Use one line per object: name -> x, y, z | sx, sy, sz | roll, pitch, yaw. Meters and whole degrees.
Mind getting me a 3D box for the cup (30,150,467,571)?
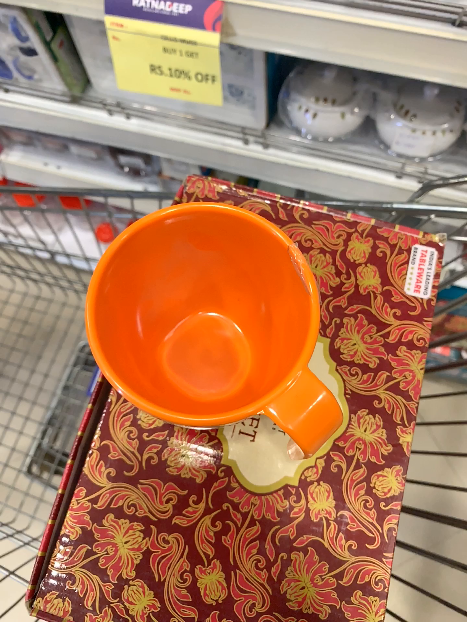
cup -> 0.004, 0.017, 0.185 | 0.110, 0.070, 0.080 | 39, 78, 11
